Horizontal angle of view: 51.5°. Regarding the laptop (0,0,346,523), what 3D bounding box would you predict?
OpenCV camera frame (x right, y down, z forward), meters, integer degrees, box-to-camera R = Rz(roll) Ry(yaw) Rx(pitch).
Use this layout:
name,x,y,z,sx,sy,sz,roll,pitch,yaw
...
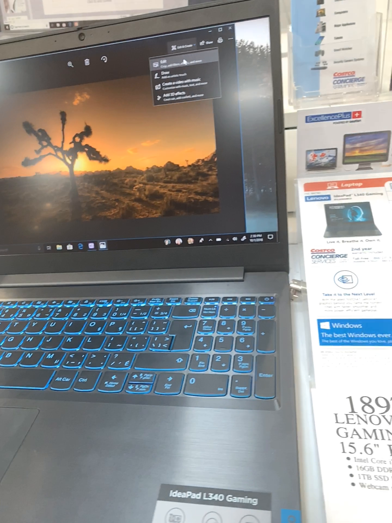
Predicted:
name,x,y,z,sx,sy,sz,roll,pitch,yaw
laptop,-0.102,-0.033,0.290,0.340,0.214,0.330,-2,33,11
